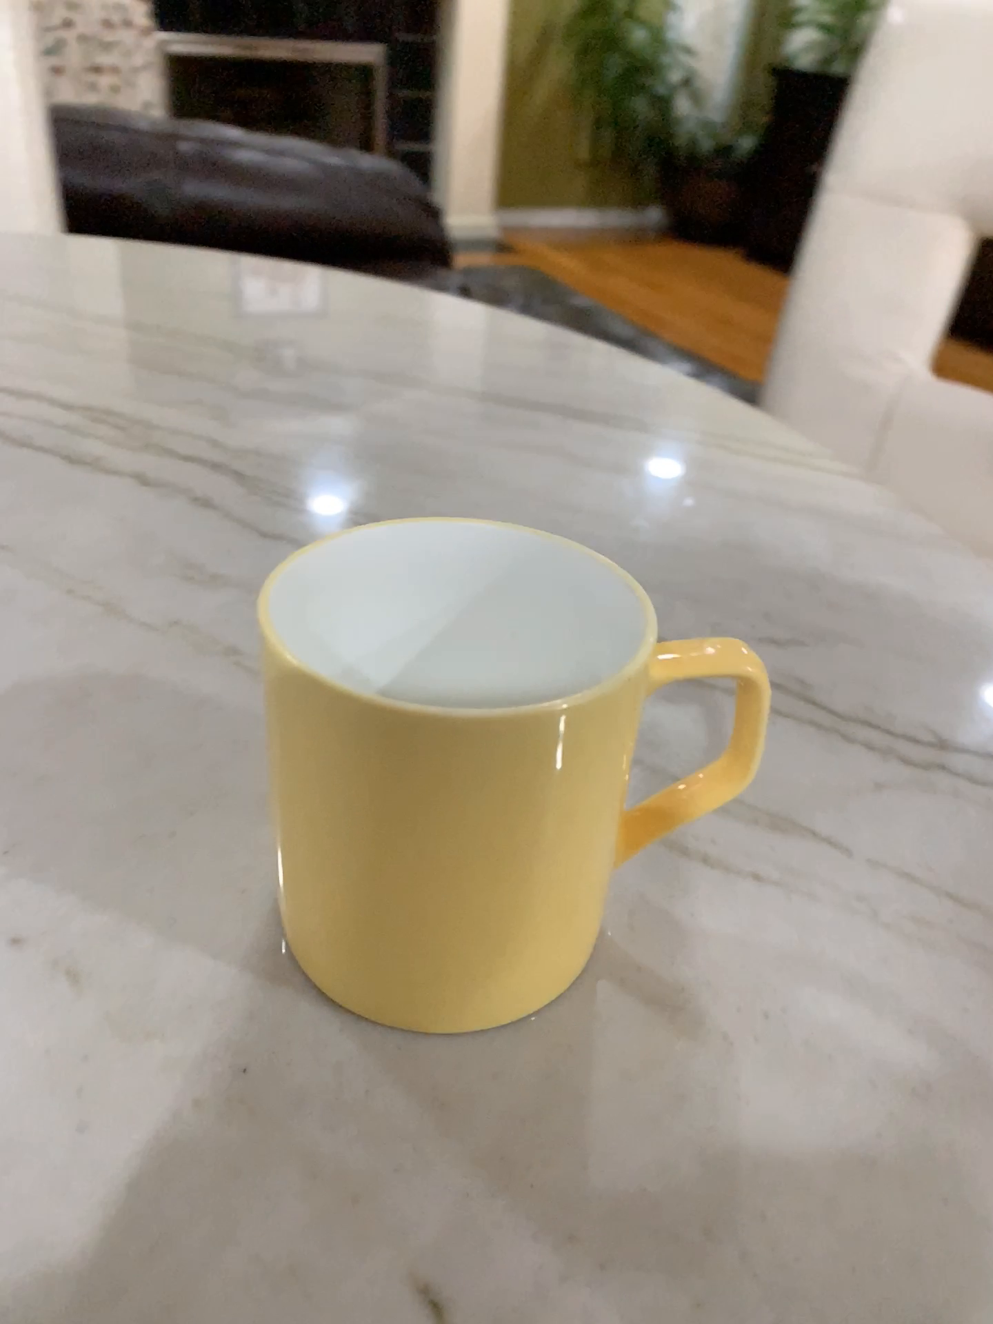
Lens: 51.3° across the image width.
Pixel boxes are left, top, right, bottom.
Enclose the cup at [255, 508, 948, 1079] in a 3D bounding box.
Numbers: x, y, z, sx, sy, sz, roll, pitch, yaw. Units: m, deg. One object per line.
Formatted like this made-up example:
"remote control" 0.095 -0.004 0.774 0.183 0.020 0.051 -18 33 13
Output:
"cup" 0.010 0.020 0.207 0.109 0.074 0.075 -3 33 -12
